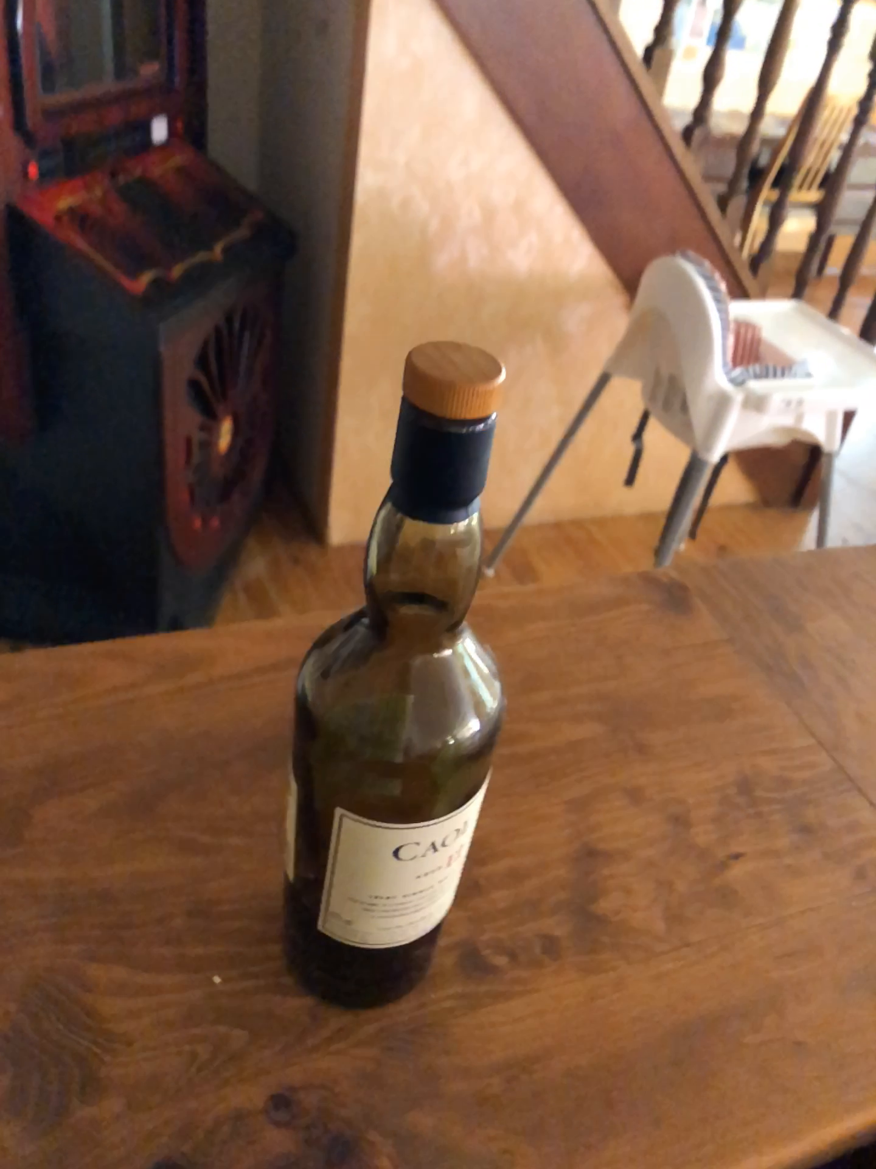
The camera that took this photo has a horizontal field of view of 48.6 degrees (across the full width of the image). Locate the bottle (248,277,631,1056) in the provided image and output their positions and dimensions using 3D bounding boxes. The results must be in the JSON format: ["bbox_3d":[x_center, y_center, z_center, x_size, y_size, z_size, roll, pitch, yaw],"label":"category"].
[{"bbox_3d":[-0.014,0.050,0.365,0.070,0.298,0.081,27,40,21],"label":"bottle"}]
